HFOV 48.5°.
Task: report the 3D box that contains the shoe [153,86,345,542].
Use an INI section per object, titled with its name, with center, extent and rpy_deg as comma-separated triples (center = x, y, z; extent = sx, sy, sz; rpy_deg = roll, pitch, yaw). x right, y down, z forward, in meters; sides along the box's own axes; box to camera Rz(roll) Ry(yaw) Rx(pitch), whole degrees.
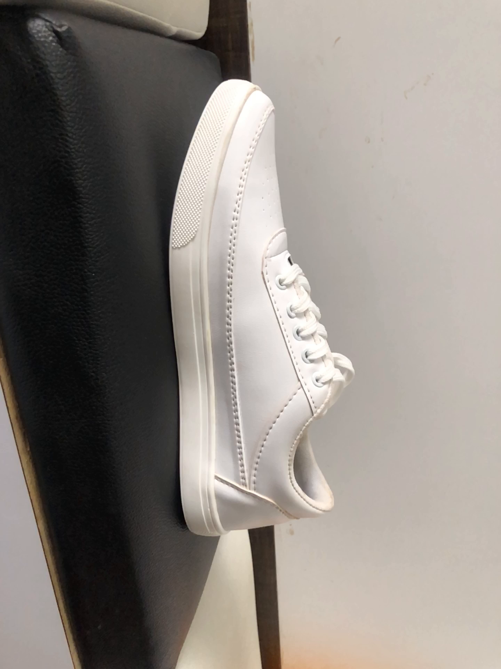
[shoe]
center = 0.014, -0.015, 0.415
extent = 0.130, 0.110, 0.290
rpy_deg = -60, 149, -72
